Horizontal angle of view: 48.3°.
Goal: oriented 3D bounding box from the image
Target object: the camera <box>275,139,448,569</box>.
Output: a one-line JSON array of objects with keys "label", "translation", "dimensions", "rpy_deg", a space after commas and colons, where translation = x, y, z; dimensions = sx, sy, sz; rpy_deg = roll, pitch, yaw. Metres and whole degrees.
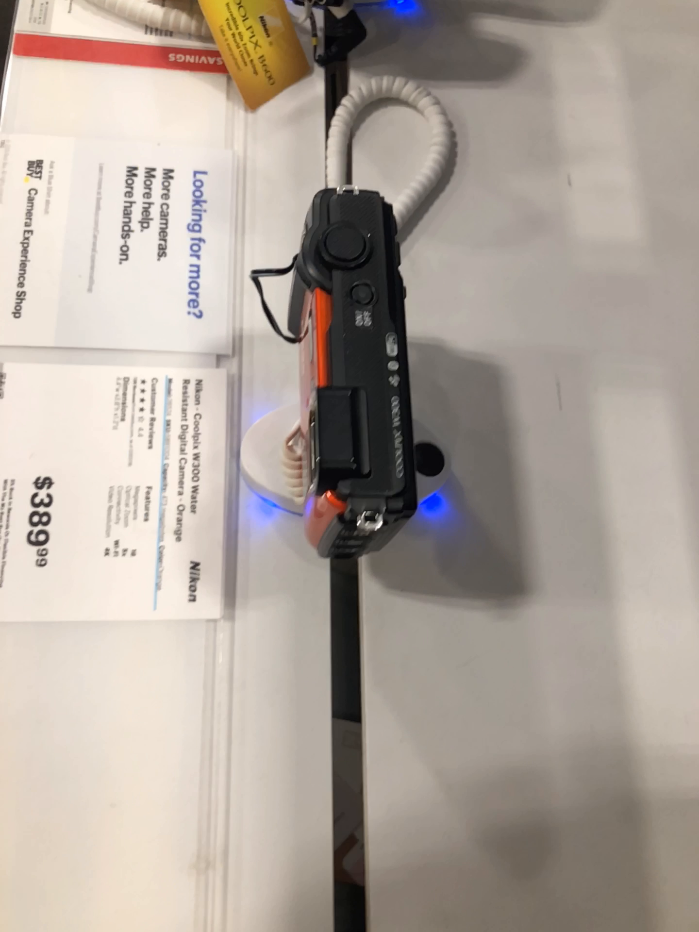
[{"label": "camera", "translation": [-0.001, -0.033, 0.249], "dimensions": [0.040, 0.060, 0.120], "rpy_deg": [0, 71, -9]}]
